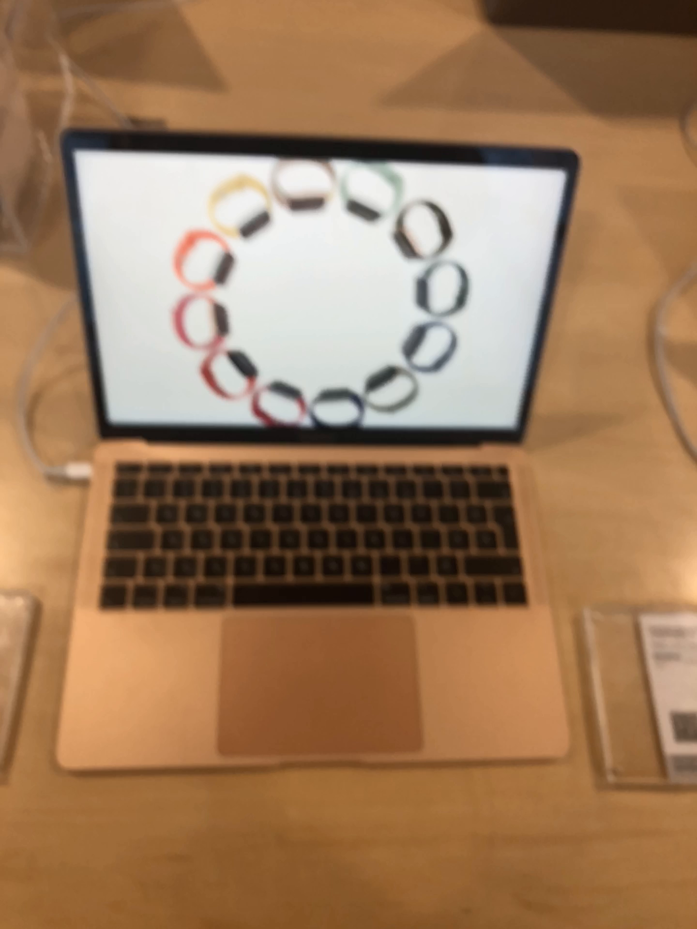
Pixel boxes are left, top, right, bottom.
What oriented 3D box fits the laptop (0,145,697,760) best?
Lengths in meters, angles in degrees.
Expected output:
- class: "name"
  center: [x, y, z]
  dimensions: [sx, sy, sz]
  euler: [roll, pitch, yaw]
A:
- class: "laptop"
  center: [-0.014, -0.002, 0.447]
  dimensions: [0.288, 0.167, 0.298]
  euler: [1, 61, -6]
